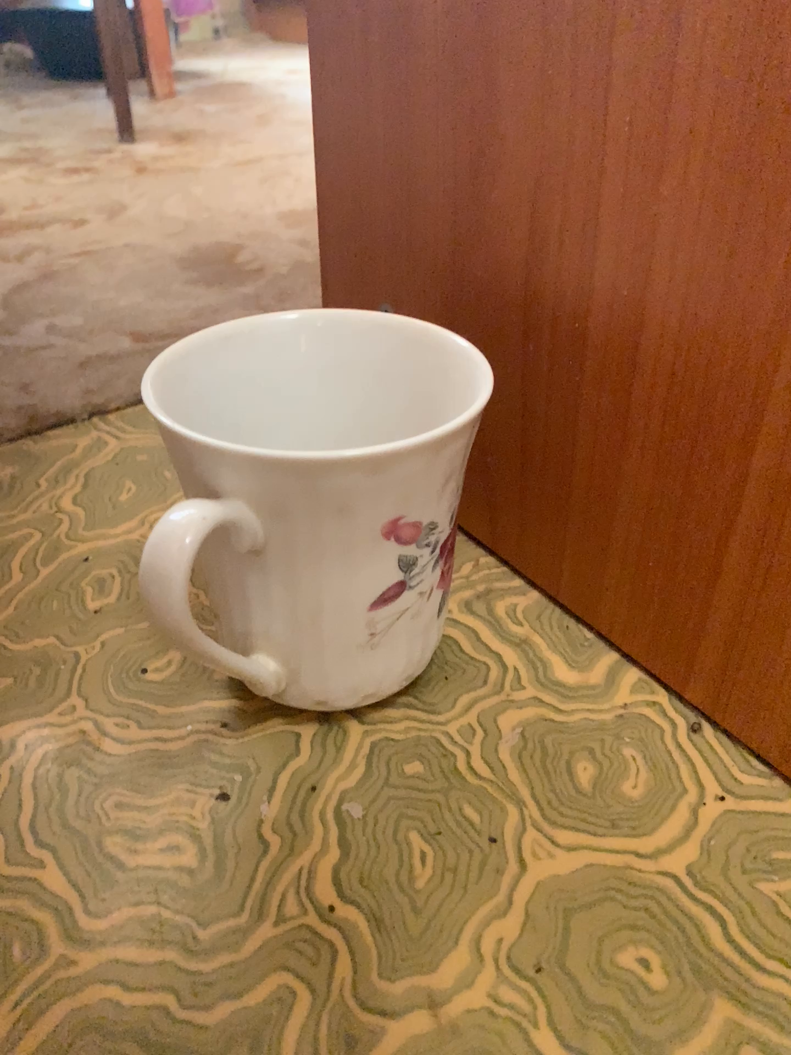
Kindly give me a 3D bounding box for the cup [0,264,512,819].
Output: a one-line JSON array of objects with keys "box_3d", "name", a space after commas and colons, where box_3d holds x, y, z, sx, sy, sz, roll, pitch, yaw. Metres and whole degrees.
[{"box_3d": [-0.021, -0.007, 0.220, 0.086, 0.086, 0.119, 7, 34, 10], "name": "cup"}]
